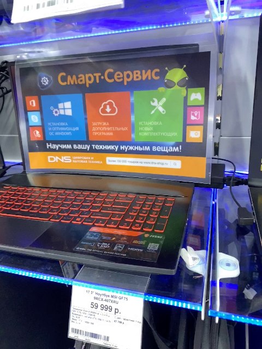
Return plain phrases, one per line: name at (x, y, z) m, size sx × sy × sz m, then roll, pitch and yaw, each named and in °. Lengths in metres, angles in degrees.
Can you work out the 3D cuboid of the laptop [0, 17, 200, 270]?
laptop at (-0.108, -0.070, 0.435) m, size 0.405 × 0.237 × 0.287 m, roll 3°, pitch 21°, yaw 18°
